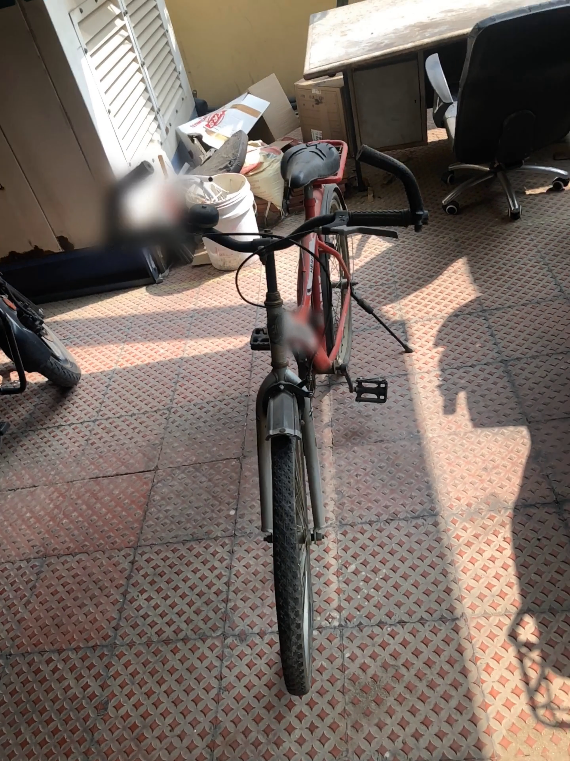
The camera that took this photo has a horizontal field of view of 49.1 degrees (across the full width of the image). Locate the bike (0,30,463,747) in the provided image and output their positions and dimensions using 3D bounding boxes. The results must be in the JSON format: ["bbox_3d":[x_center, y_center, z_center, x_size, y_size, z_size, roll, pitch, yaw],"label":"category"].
[{"bbox_3d":[0.071,-0.142,1.603,0.575,0.963,1.619,-4,39,13],"label":"bike"}]
